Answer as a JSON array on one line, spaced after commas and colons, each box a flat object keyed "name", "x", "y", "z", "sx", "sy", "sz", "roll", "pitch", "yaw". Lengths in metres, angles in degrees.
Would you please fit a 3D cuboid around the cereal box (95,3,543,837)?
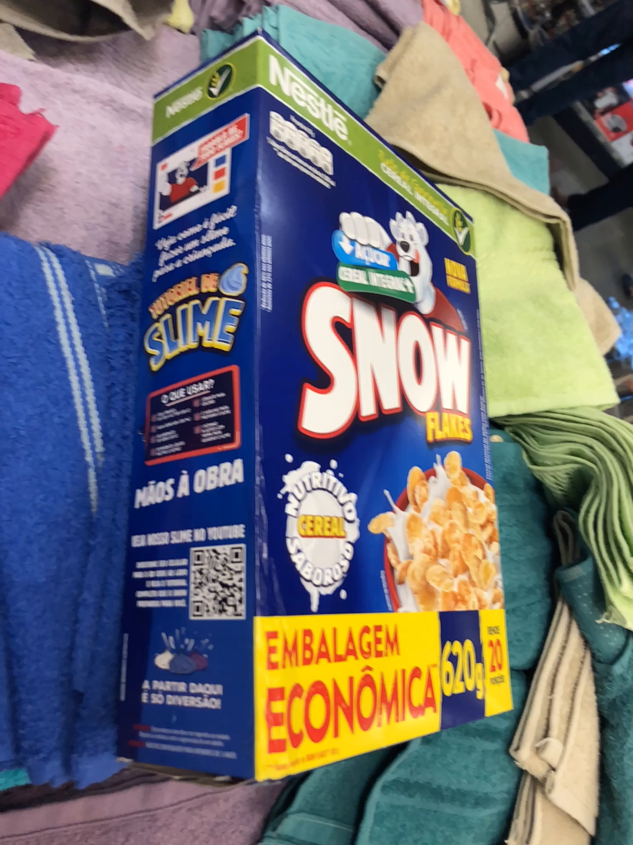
[{"name": "cereal box", "x": 0.018, "y": 0.002, "z": 0.346, "sx": 0.221, "sy": 0.070, "sz": 0.300, "roll": 17, "pitch": 66, "yaw": -48}]
